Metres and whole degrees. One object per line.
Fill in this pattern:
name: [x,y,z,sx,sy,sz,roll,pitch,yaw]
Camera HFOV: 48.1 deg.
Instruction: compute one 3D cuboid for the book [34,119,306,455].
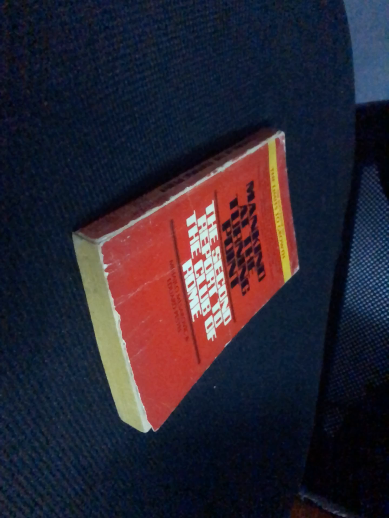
book: [0.012,-0.001,0.263,0.195,0.025,0.117,-39,126,-43]
